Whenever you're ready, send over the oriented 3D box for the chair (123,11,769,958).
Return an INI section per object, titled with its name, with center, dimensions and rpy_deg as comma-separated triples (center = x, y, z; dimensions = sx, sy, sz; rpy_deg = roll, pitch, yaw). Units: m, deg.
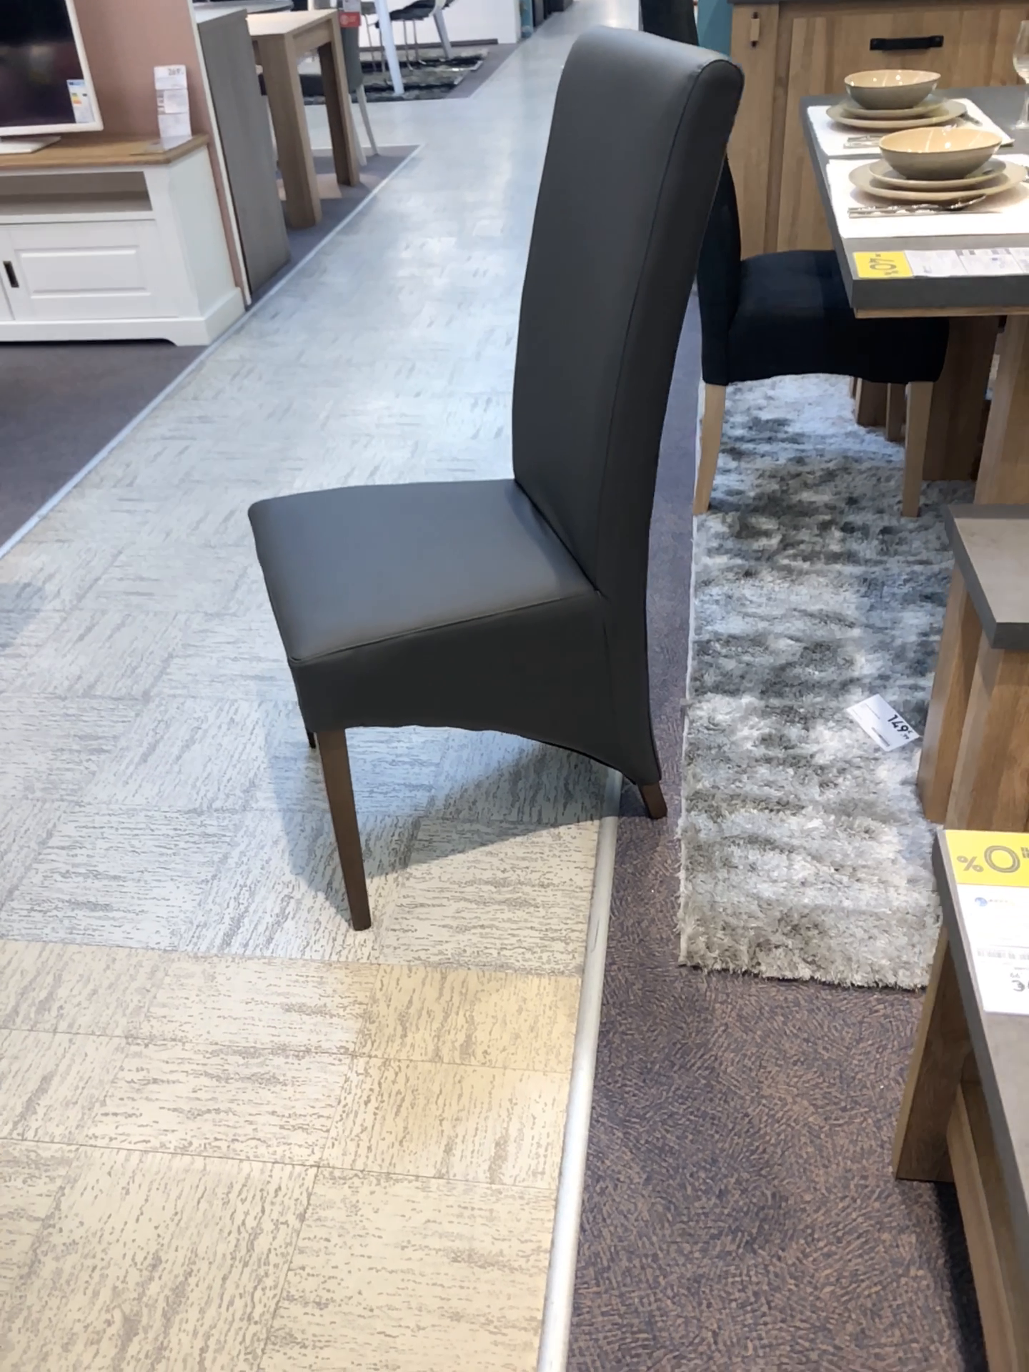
[chair]
center = -0.088, -0.259, 1.470
dimensions = 0.571, 1.014, 0.522
rpy_deg = -12, 35, -13
